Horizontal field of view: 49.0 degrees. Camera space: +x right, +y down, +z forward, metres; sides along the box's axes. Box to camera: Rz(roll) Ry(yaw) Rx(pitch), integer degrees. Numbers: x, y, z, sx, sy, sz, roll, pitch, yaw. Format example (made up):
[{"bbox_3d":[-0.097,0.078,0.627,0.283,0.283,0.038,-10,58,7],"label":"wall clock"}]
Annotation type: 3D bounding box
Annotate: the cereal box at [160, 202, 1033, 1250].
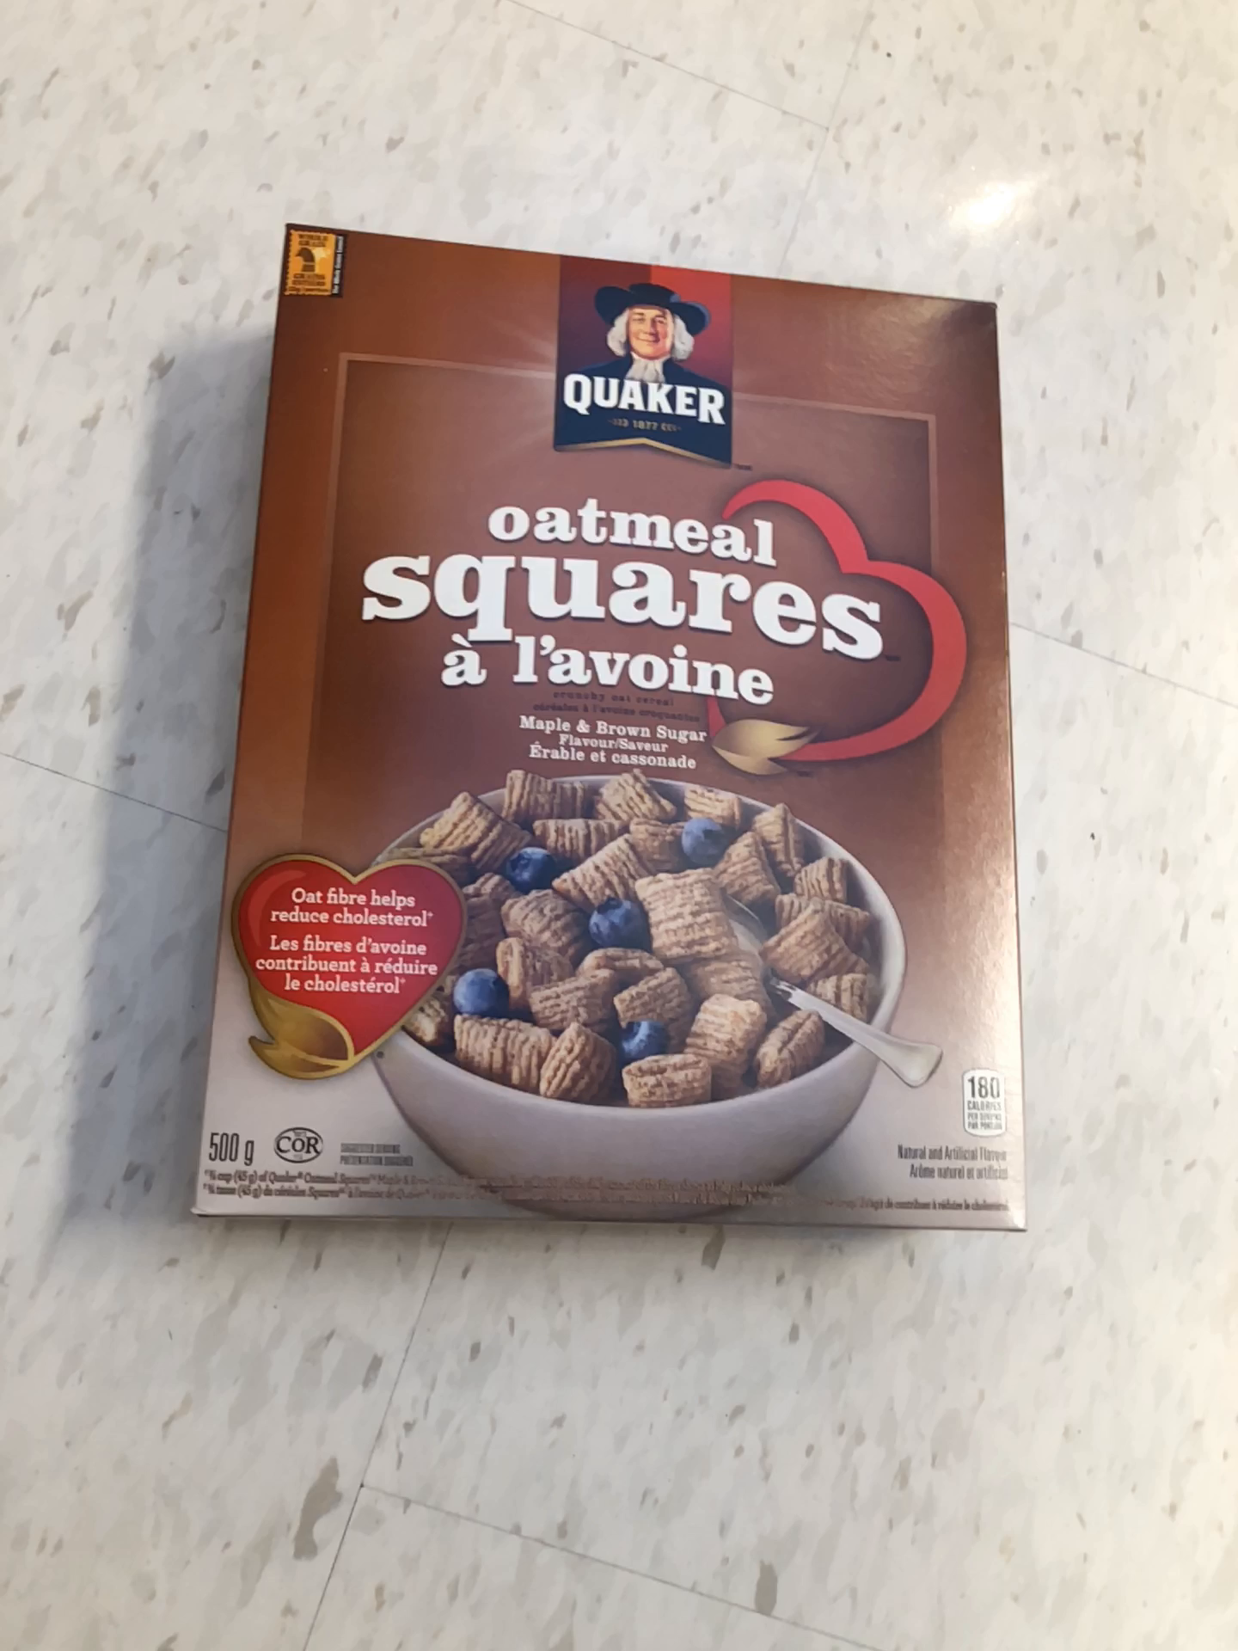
[{"bbox_3d":[-0.002,-0.025,0.388,0.210,0.070,0.270,3,77,-8],"label":"cereal box"}]
